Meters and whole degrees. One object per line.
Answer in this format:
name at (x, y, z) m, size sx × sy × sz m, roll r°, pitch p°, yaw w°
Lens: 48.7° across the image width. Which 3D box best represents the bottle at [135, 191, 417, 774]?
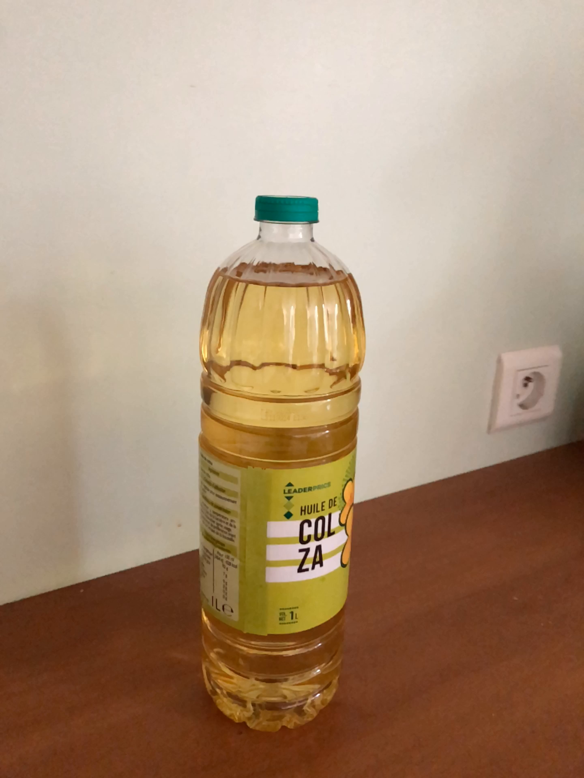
bottle at (-0.013, 0.041, 0.334) m, size 0.090 × 0.269 × 0.090 m, roll 2°, pitch 19°, yaw -1°
